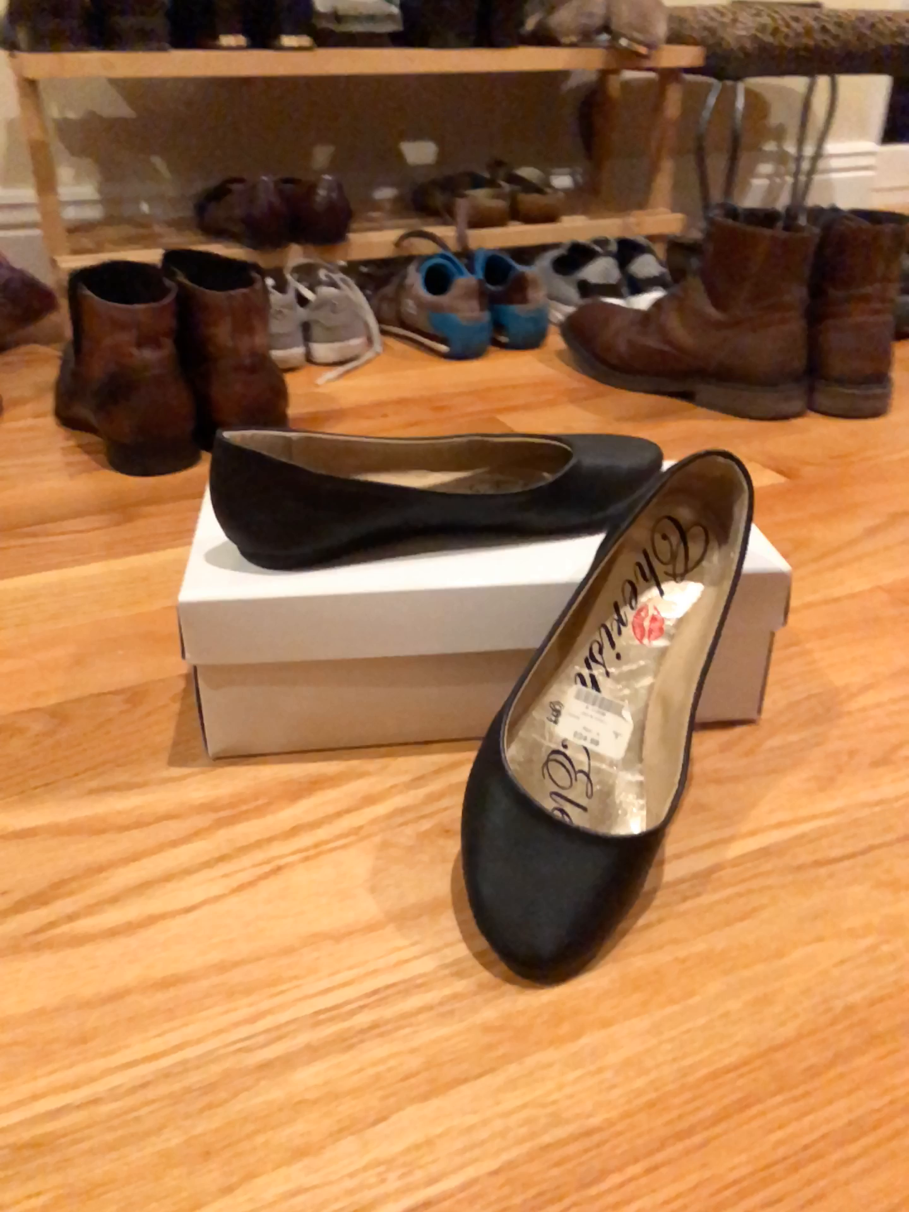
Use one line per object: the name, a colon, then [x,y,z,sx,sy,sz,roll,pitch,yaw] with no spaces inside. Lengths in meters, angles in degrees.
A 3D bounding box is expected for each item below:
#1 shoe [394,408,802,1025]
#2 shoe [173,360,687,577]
shoe: [0.064,0.040,0.421,0.076,0.060,0.240,23,71,10]
shoe: [-0.013,-0.074,0.501,0.239,0.060,0.076,-8,31,-13]
